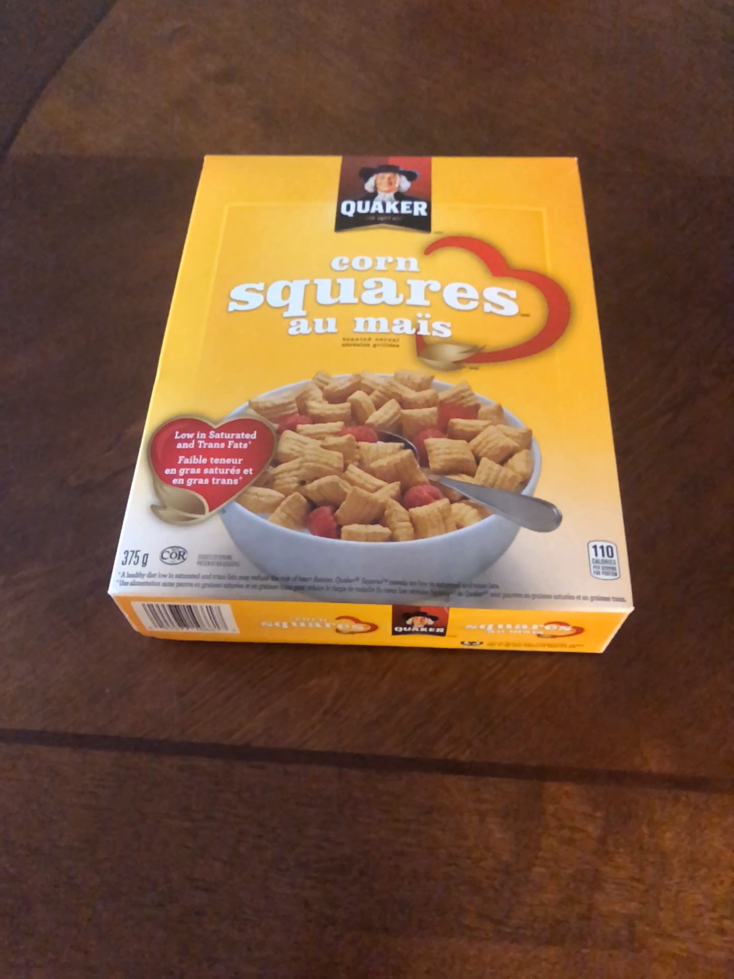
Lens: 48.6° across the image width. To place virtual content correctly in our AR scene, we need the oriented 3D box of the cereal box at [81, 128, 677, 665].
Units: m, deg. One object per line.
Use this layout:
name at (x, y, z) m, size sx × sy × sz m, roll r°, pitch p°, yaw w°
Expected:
cereal box at (0.009, -0.060, 0.390) m, size 0.220 × 0.050 × 0.271 m, roll 2°, pitch 60°, yaw 1°
